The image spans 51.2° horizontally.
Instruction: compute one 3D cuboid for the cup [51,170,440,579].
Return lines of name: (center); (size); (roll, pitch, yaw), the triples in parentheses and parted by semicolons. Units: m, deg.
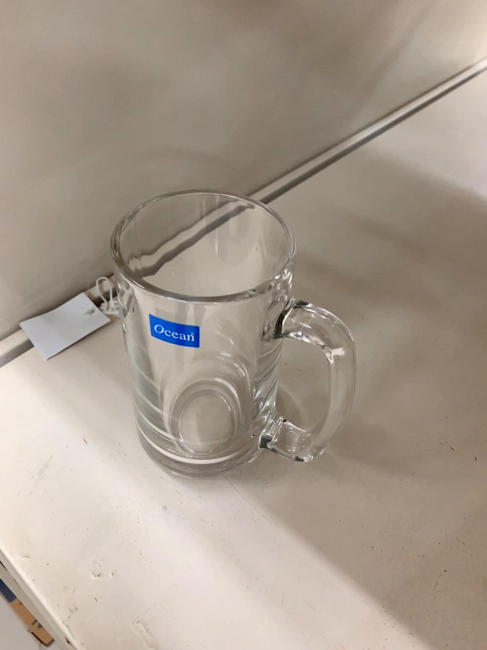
cup: (-0.001, 0.022, 0.234); (0.120, 0.129, 0.080); (28, 50, 23)
